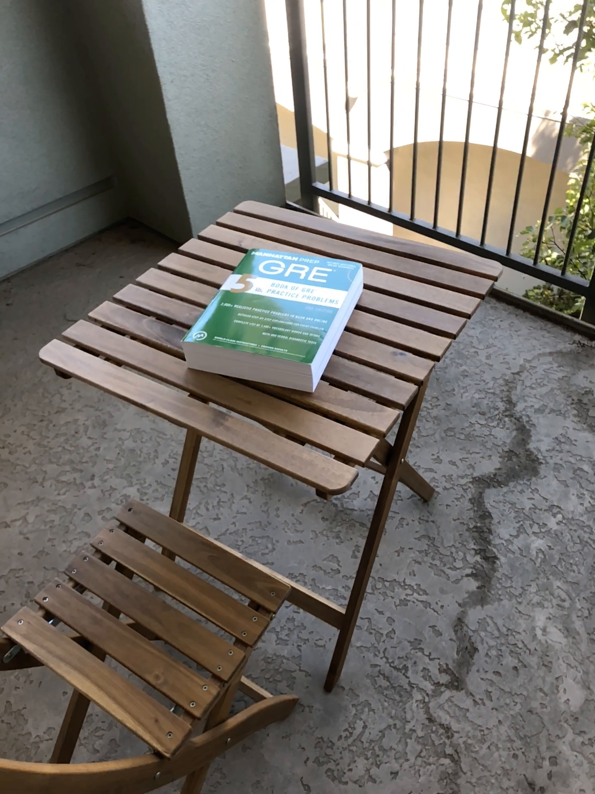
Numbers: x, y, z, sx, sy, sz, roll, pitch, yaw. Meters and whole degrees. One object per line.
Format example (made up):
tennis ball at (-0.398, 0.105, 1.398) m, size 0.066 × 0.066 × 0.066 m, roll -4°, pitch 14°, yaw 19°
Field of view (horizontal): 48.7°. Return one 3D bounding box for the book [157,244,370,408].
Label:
book at (-0.041, -0.132, 1.086) m, size 0.250 × 0.060 × 0.311 m, roll 11°, pitch 46°, yaw 17°
